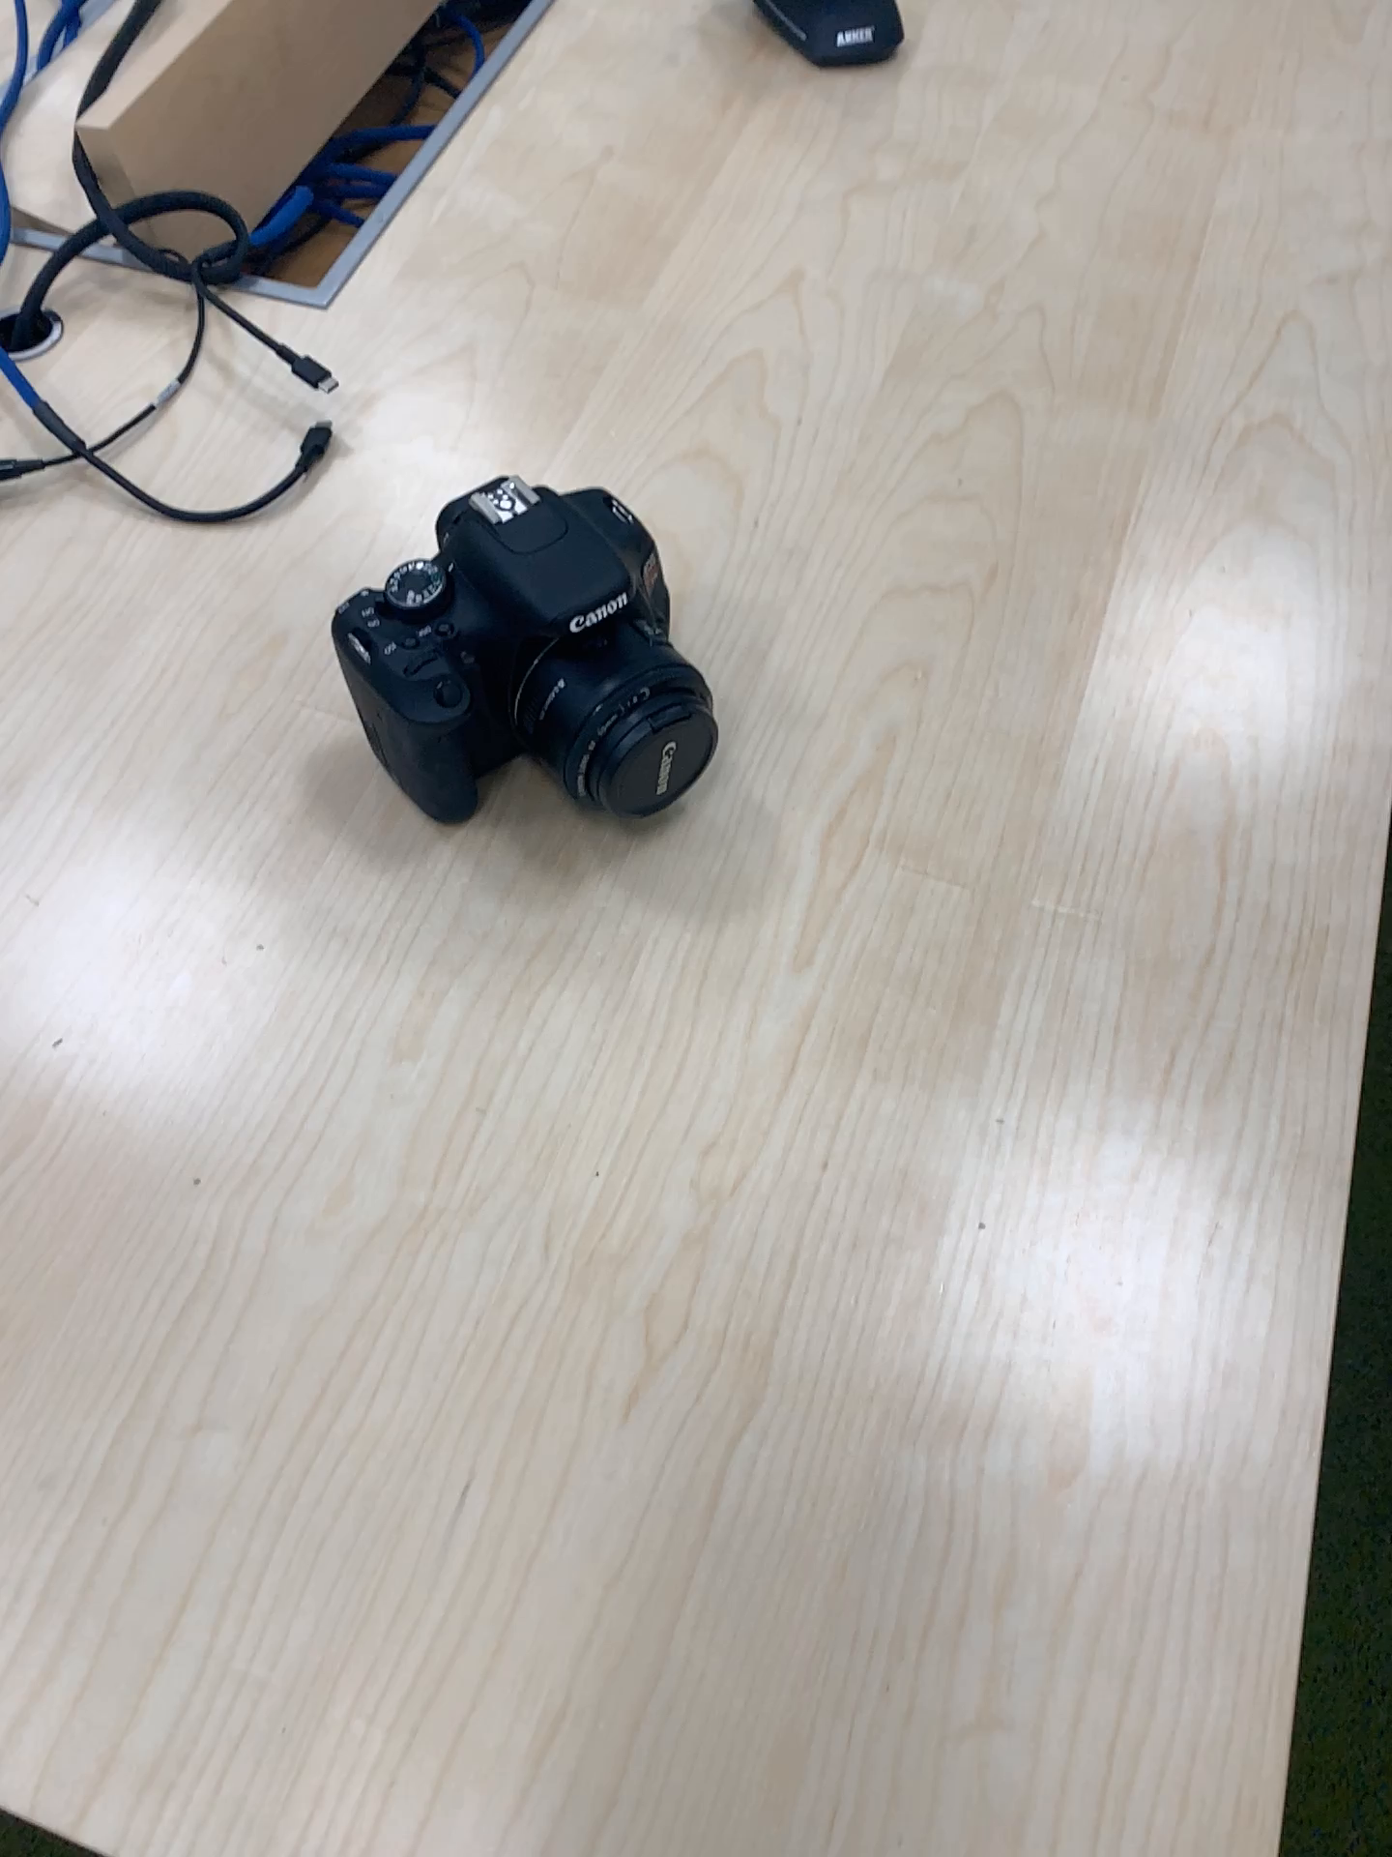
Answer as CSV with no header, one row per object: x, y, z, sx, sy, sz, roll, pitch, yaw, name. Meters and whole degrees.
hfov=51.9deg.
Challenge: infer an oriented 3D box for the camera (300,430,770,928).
-0.060,-0.100,0.570,0.130,0.100,0.119,-32,63,-18,camera
